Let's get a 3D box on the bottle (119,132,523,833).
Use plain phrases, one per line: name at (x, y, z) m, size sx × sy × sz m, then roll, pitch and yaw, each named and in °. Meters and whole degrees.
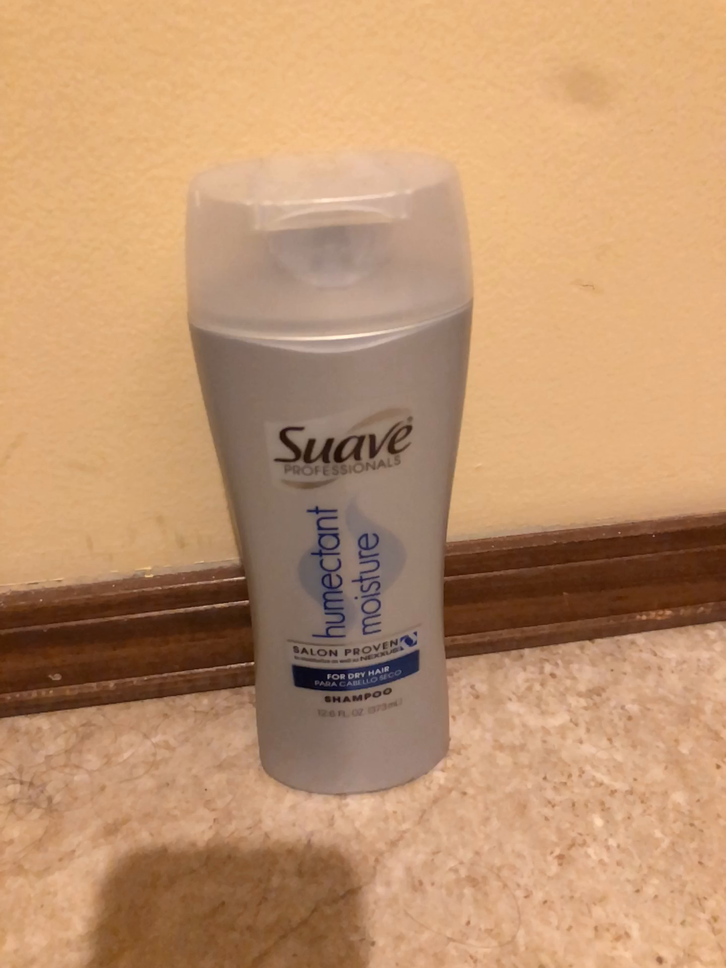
bottle at (-0.009, 0.015, 0.240) m, size 0.080 × 0.209 × 0.050 m, roll -7°, pitch 36°, yaw -7°
